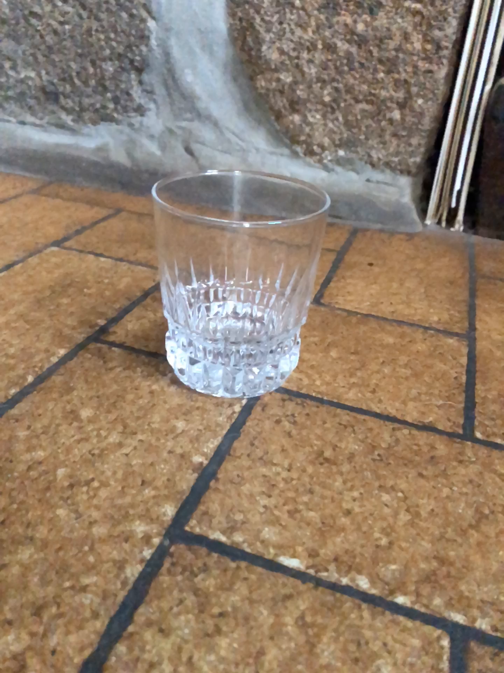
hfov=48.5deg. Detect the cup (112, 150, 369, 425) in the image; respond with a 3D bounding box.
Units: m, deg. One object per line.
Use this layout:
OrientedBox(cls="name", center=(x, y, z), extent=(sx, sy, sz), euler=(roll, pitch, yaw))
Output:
OrientedBox(cls="cup", center=(-0.006, -0.030, 0.266), extent=(0.080, 0.089, 0.080), euler=(3, 30, -2))
